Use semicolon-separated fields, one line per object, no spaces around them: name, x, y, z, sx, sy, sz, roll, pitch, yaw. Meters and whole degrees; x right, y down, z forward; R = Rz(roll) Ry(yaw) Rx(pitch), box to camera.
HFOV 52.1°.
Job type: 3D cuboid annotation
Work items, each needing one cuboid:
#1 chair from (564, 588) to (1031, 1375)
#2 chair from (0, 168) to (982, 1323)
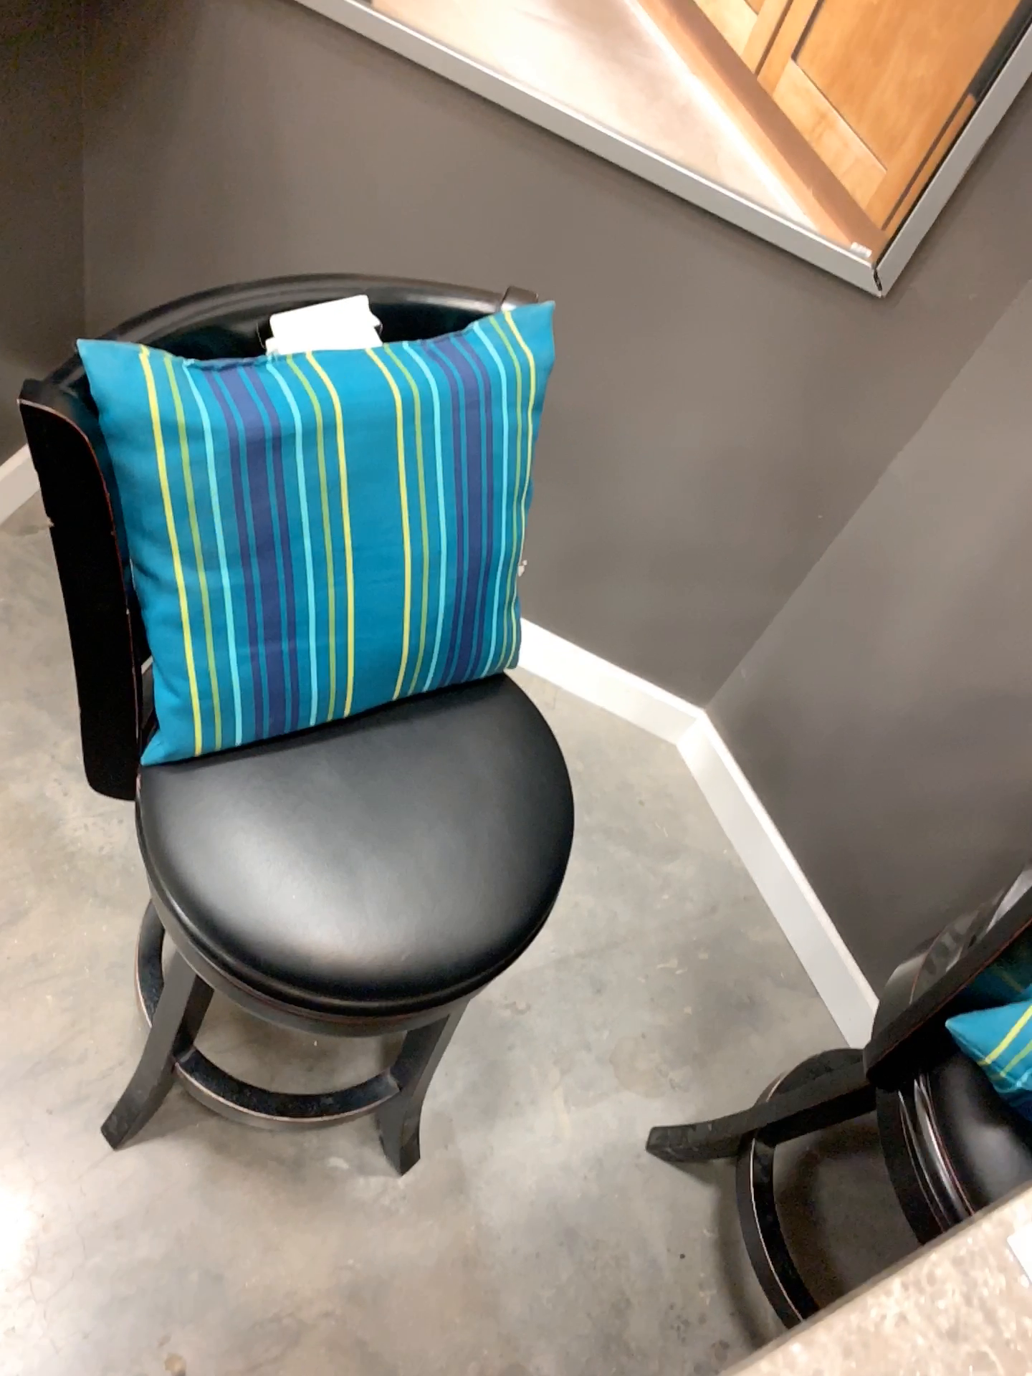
chair;0.556;0.453;1.099;0.536;0.924;0.597;-10;59;-28
chair;-0.191;0.118;1.022;0.536;0.904;0.597;-10;59;-28
